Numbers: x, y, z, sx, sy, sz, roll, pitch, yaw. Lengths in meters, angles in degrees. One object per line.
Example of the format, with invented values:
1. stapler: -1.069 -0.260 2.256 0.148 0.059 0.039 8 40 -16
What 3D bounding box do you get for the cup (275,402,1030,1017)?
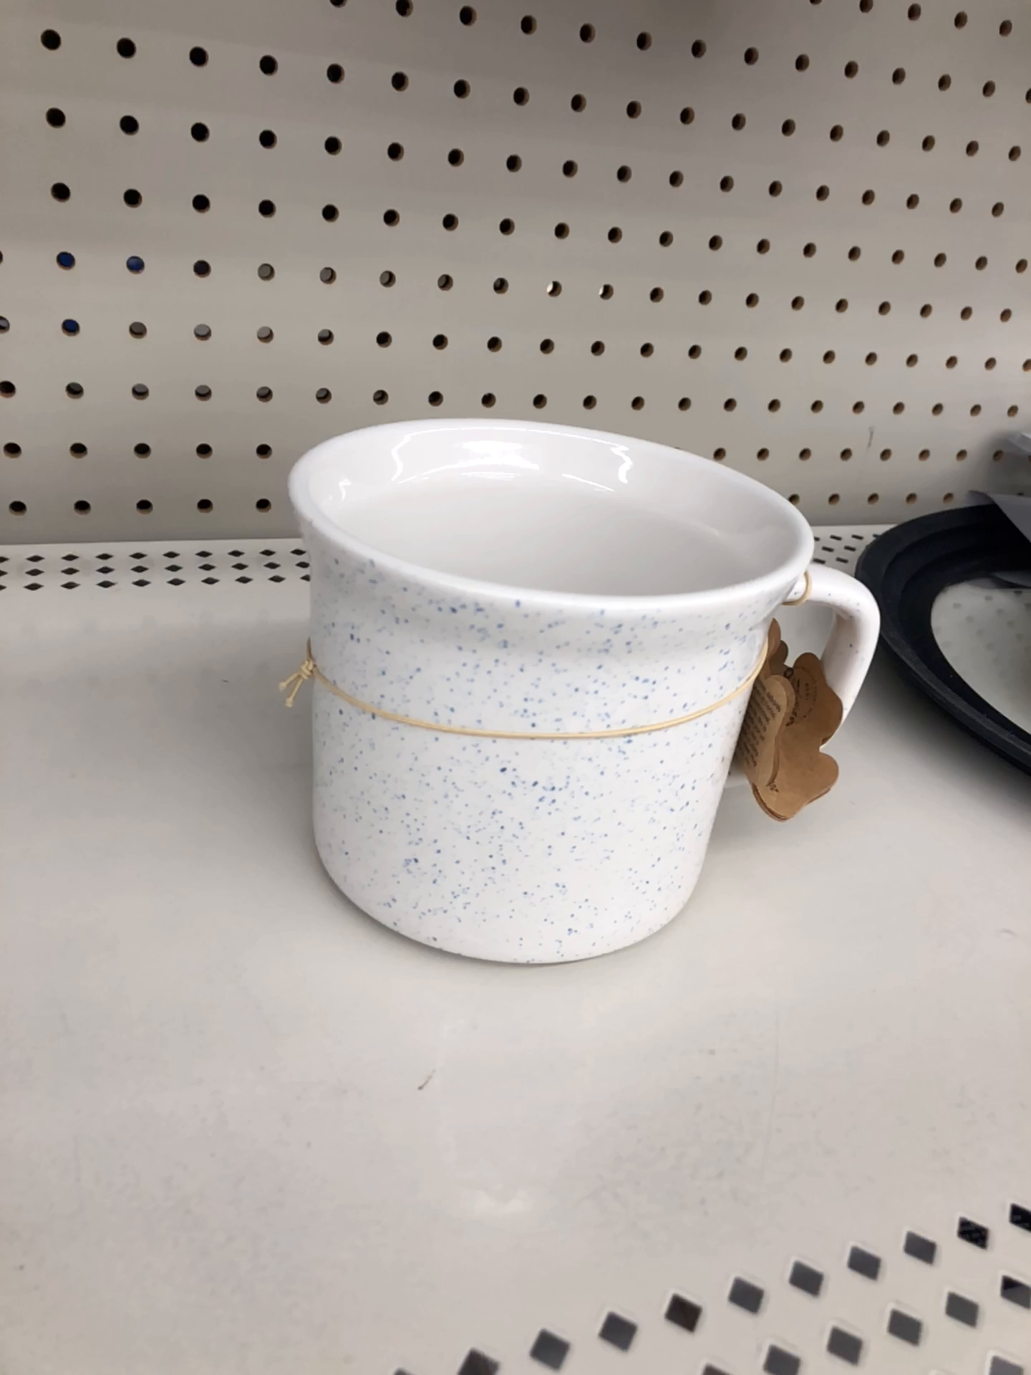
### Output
1. cup: 0.034 -0.008 0.270 0.159 0.090 0.102 -6 31 -23
